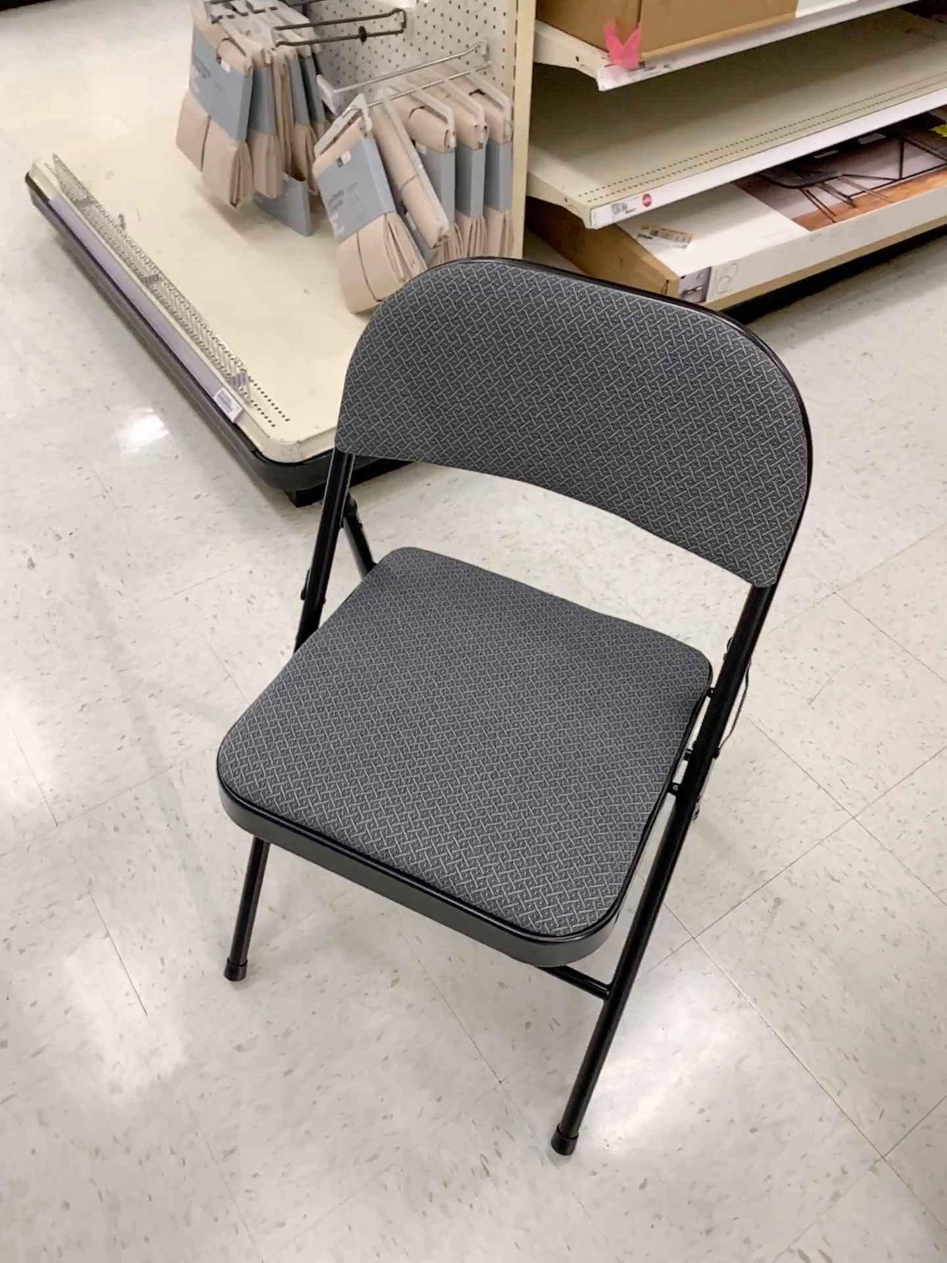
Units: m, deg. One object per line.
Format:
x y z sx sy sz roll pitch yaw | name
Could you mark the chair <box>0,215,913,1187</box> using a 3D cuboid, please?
0.020 0.085 0.973 0.500 0.677 0.552 20 53 16 | chair
